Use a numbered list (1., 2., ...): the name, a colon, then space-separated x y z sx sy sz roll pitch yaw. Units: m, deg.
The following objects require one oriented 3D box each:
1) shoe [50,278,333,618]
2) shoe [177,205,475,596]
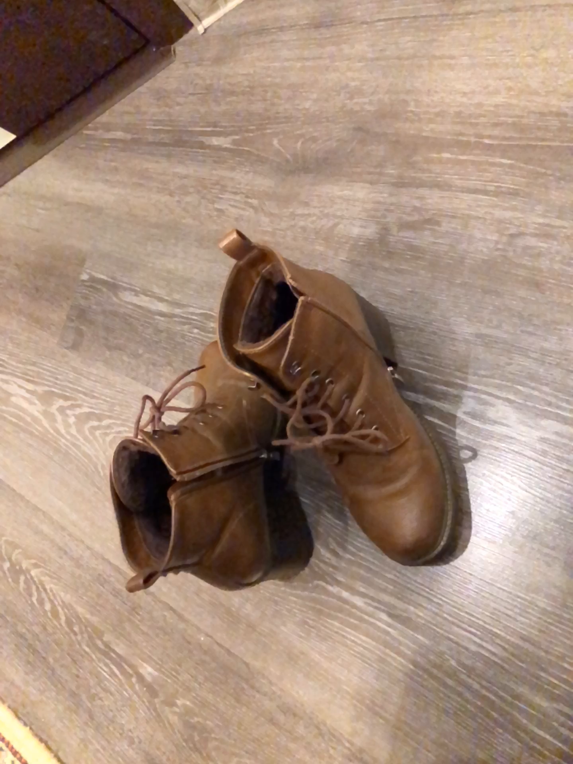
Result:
1. shoe: -0.077 0.058 0.516 0.100 0.169 0.221 -29 64 26
2. shoe: 0.033 0.024 0.454 0.090 0.189 0.220 -22 67 29
